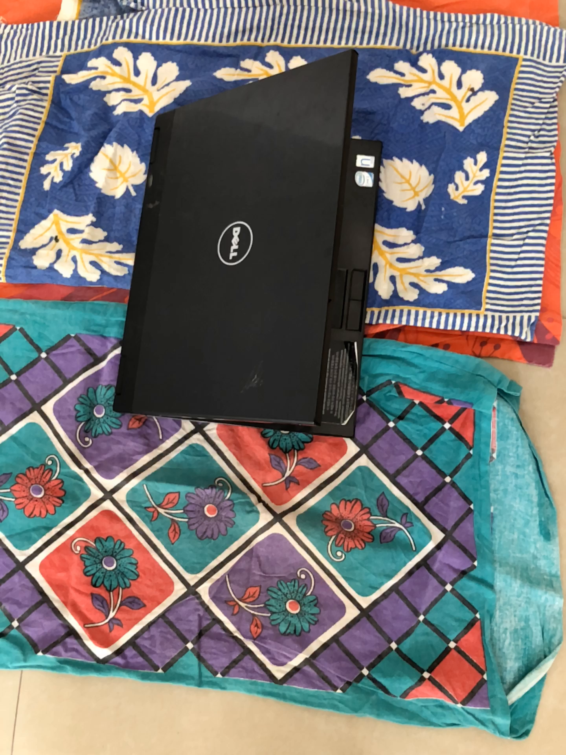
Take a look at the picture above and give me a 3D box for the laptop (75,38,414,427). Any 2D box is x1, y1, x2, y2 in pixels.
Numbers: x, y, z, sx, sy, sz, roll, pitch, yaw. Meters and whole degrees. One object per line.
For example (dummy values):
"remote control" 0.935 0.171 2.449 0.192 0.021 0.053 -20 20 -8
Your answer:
"laptop" -0.025 -0.118 0.563 0.234 0.144 0.299 5 82 4
